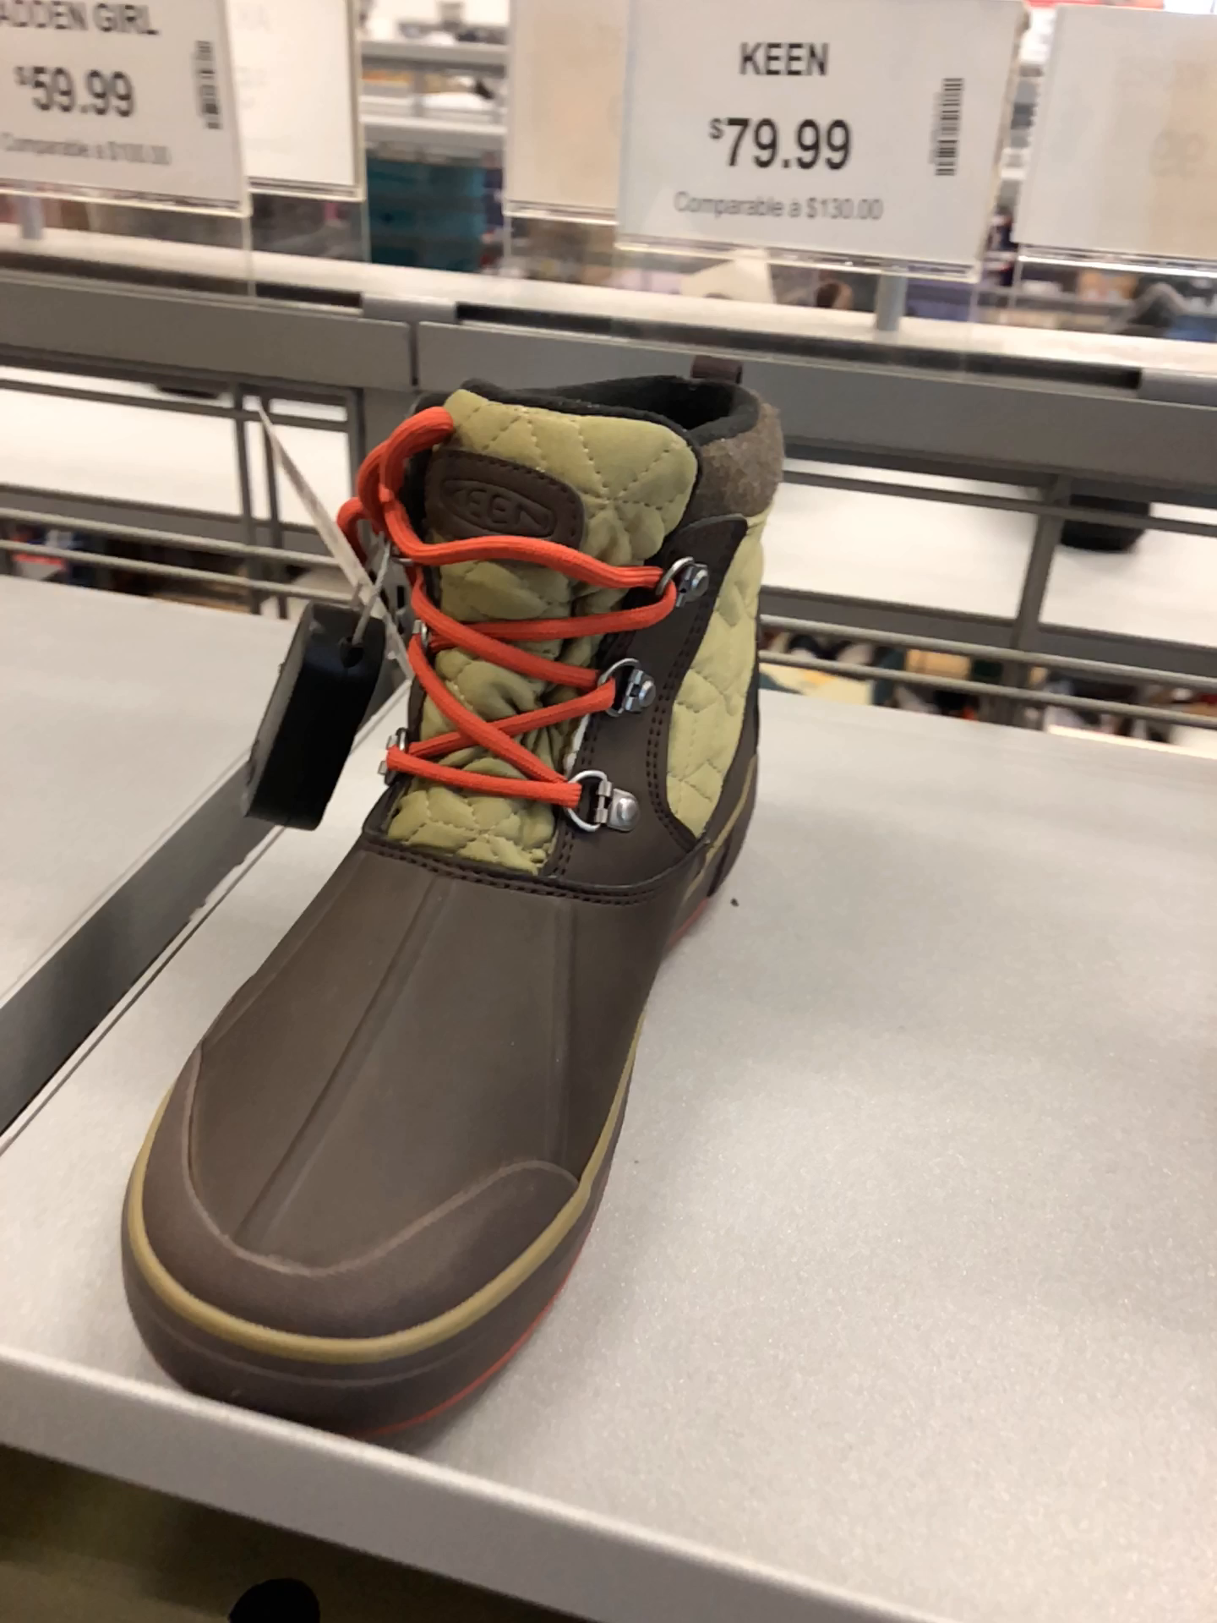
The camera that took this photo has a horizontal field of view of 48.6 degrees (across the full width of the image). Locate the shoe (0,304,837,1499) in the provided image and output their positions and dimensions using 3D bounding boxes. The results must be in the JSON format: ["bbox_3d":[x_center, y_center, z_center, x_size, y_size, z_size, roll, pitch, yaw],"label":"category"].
[{"bbox_3d":[-0.028,-0.016,0.314,0.107,0.139,0.262,11,32,13],"label":"shoe"}]
